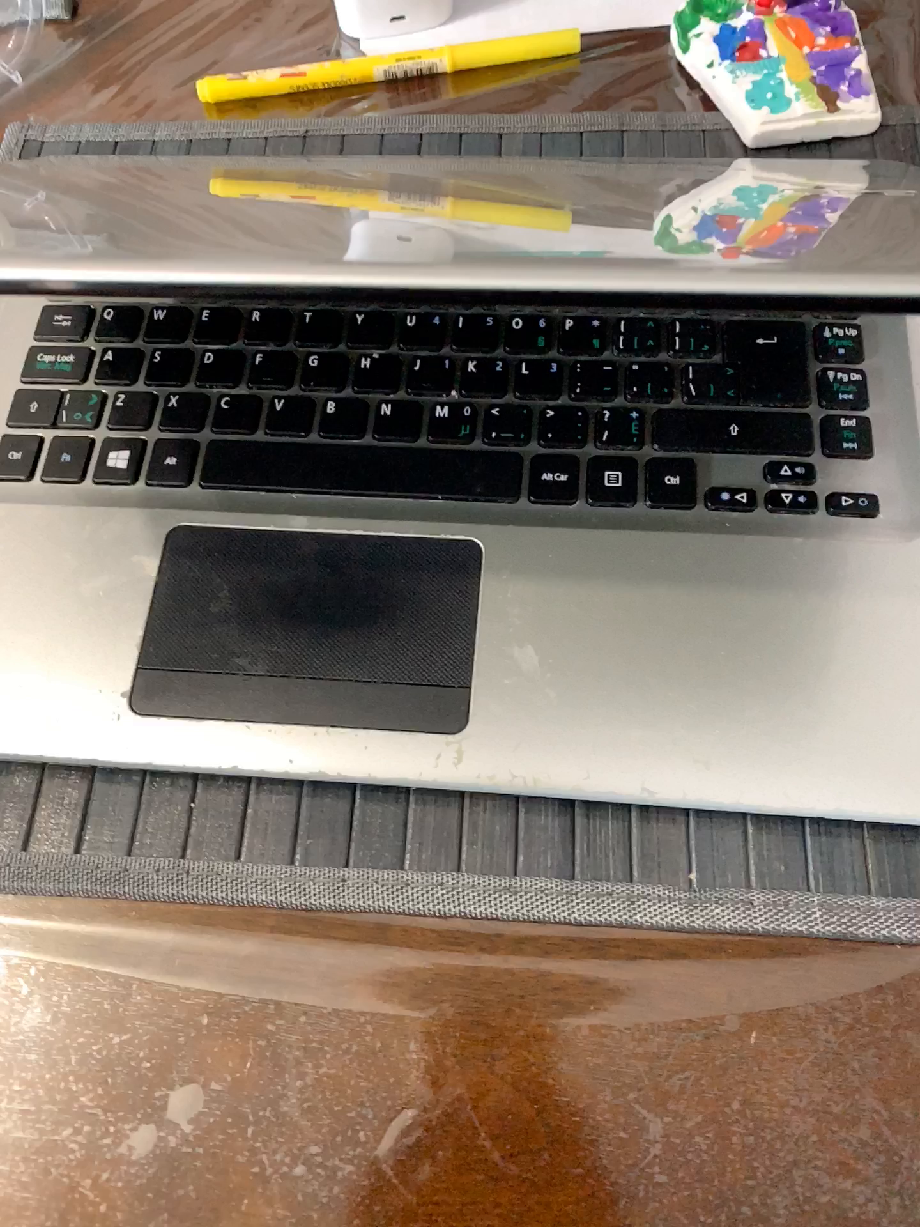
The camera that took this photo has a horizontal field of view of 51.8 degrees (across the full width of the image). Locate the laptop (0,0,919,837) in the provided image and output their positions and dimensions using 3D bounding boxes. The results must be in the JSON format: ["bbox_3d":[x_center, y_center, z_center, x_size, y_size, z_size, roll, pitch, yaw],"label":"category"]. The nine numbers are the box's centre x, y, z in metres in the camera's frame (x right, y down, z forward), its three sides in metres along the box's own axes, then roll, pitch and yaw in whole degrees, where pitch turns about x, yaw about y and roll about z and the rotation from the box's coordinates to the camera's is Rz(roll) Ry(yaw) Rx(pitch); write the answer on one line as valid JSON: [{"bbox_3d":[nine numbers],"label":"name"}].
[{"bbox_3d":[-0.019,-0.085,0.261,0.344,0.145,0.236,3,67,6],"label":"laptop"}]
